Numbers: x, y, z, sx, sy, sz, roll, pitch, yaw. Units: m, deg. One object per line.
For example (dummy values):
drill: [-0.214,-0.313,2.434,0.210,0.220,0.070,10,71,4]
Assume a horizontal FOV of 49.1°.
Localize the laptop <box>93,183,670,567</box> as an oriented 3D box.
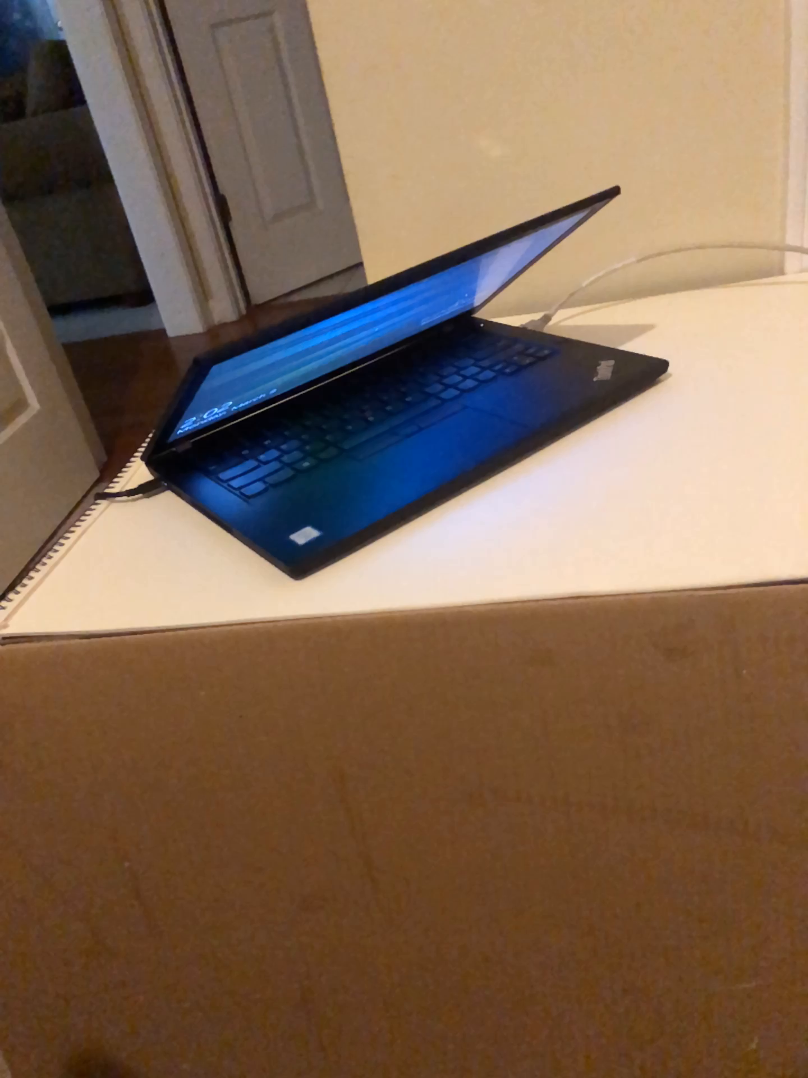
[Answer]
laptop: [-0.013,-0.141,0.619,0.317,0.115,0.228,-29,34,-24]
